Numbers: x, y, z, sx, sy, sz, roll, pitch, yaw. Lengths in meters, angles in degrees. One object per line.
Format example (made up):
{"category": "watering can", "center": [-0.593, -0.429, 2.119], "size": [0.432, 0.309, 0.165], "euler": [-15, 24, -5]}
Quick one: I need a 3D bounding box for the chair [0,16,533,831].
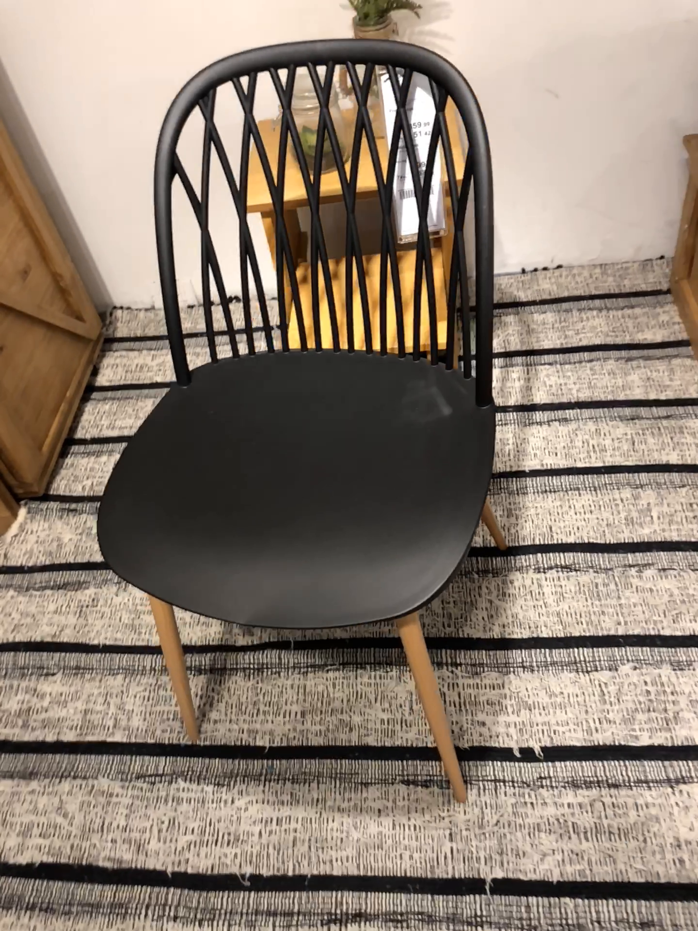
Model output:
{"category": "chair", "center": [-0.052, -0.013, 0.945], "size": [0.470, 0.775, 0.543], "euler": [6, 49, 17]}
